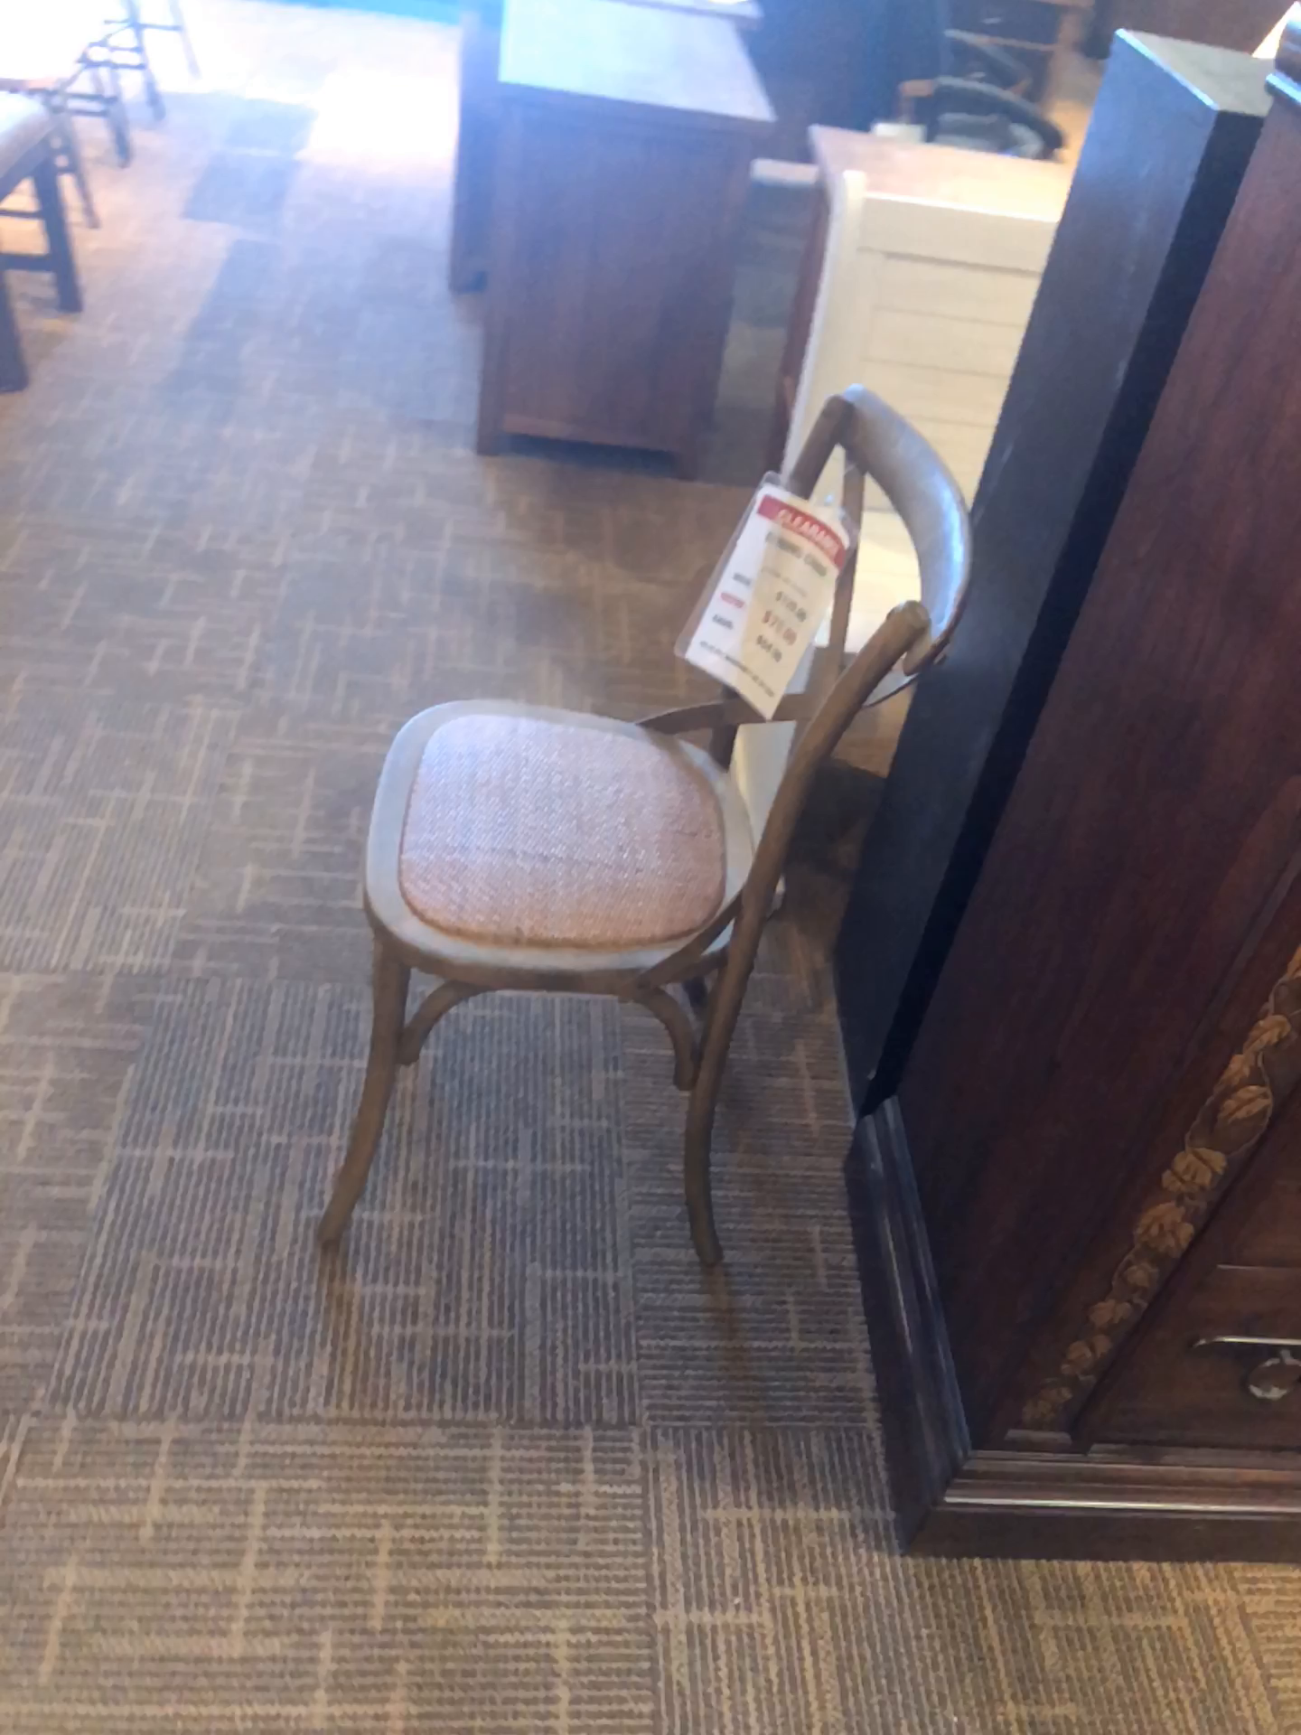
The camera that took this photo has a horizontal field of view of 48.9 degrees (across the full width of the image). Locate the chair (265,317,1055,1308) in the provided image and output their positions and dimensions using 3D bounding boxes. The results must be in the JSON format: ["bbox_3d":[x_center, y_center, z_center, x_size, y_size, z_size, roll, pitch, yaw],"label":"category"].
[{"bbox_3d":[-0.036,-0.028,1.471,0.565,0.813,0.517,7,40,-4],"label":"chair"}]
